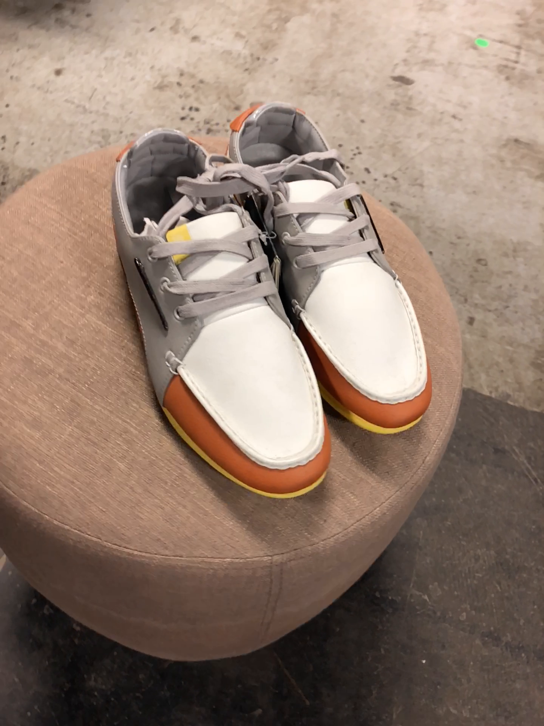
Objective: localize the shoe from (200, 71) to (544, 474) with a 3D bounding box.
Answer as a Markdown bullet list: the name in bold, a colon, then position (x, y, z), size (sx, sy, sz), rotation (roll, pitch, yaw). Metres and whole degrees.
- **shoe**: position (0.046, -0.071, 0.409), size (0.100, 0.099, 0.251), rotation (-19, 63, -19)

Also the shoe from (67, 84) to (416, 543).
- **shoe**: position (-0.037, -0.046, 0.394), size (0.100, 0.099, 0.281), rotation (-19, 63, -19)
